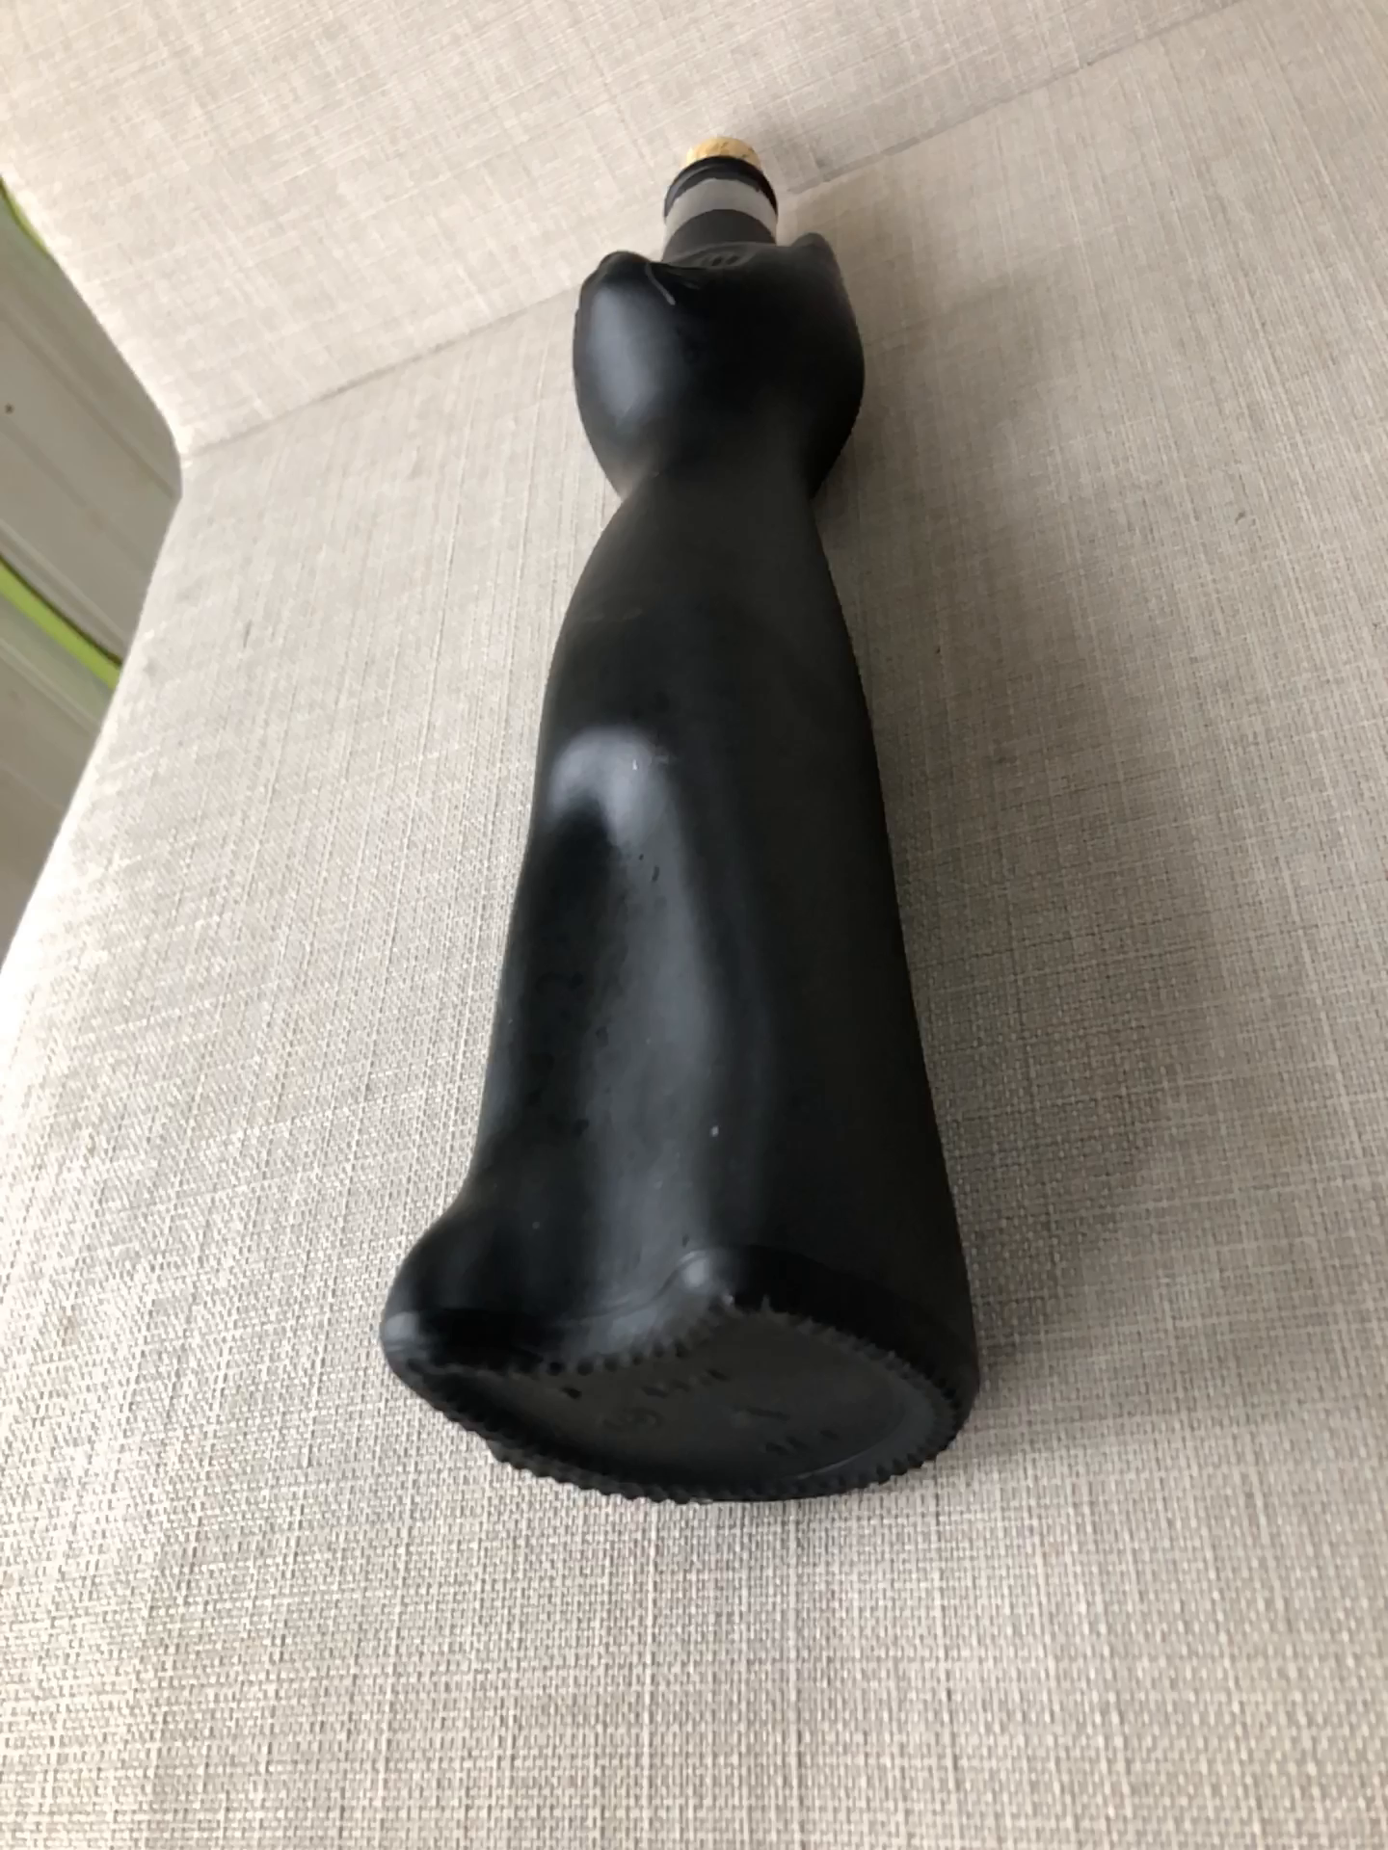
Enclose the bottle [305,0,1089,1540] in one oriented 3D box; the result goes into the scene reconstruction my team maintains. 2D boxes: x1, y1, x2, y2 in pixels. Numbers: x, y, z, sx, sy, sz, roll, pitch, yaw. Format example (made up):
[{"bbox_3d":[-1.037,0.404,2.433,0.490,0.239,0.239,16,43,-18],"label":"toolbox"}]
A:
[{"bbox_3d":[0.003,-0.059,0.295,0.077,0.079,0.312,-15,52,19],"label":"bottle"}]
